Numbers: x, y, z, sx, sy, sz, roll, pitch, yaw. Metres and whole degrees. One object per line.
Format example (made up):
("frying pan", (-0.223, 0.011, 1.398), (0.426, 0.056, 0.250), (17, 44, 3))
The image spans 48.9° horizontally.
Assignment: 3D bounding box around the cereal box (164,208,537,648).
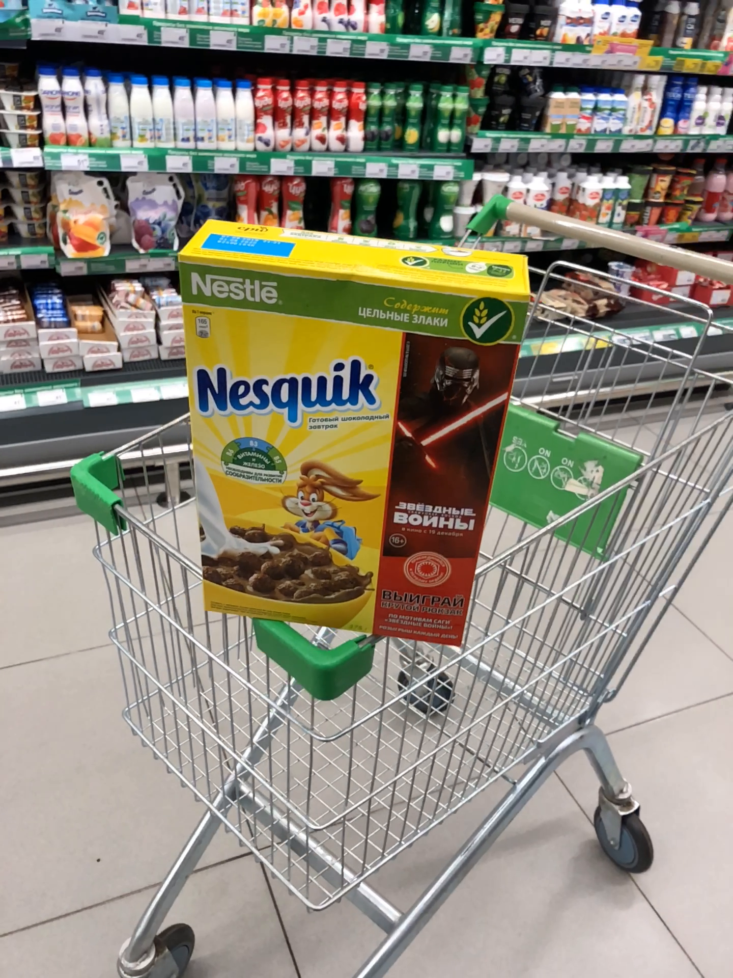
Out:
("cereal box", (-0.015, -0.028, 0.533), (0.200, 0.268, 0.070), (8, 36, 4))
